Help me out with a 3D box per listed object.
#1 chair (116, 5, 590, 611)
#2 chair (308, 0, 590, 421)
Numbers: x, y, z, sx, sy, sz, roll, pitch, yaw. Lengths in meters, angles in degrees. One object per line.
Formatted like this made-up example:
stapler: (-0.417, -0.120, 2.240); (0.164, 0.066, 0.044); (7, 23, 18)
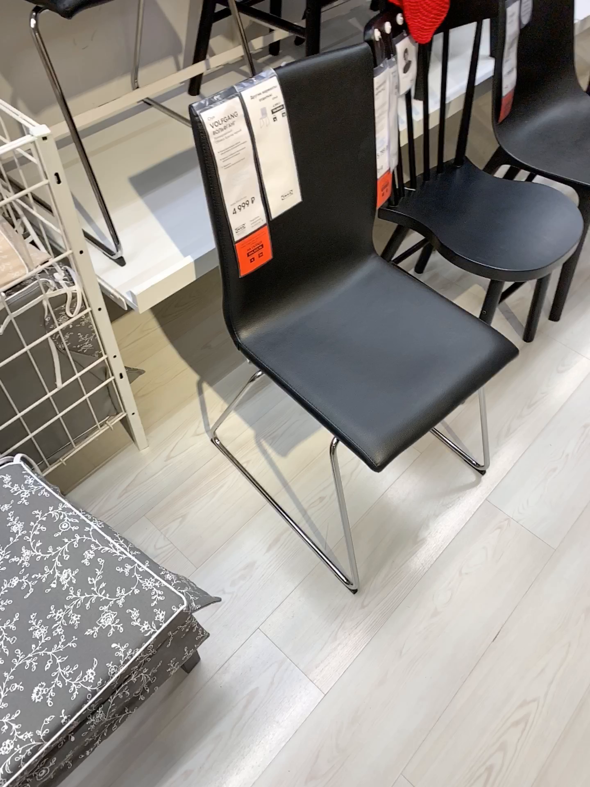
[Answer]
chair: (0.133, -0.123, 1.193); (0.532, 0.869, 0.609); (-36, 61, -26)
chair: (0.428, -0.471, 1.527); (0.599, 0.799, 0.472); (37, 59, 24)
